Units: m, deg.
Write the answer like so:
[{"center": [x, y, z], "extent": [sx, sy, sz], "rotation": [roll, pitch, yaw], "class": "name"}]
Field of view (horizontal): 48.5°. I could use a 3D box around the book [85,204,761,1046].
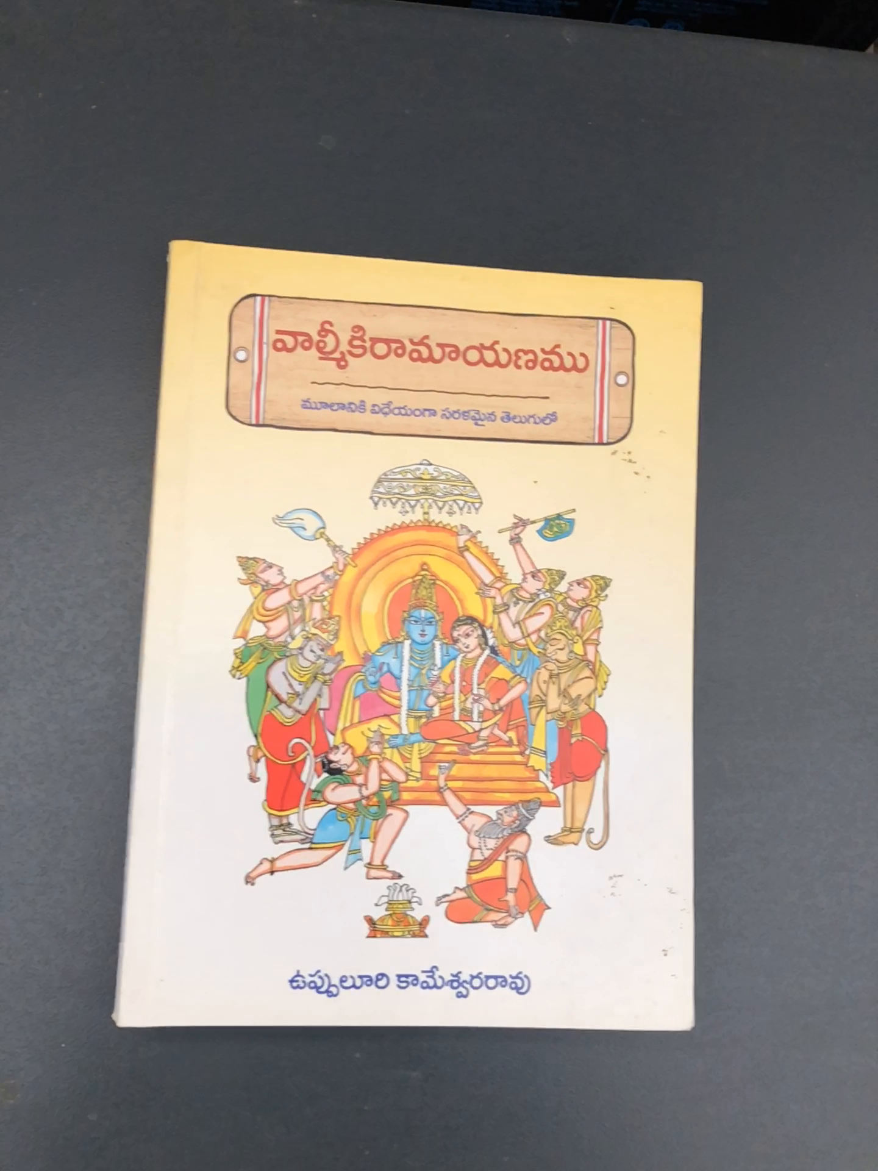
[{"center": [0.002, 0.012, 0.298], "extent": [0.190, 0.020, 0.240], "rotation": [3, 84, -6], "class": "book"}]
